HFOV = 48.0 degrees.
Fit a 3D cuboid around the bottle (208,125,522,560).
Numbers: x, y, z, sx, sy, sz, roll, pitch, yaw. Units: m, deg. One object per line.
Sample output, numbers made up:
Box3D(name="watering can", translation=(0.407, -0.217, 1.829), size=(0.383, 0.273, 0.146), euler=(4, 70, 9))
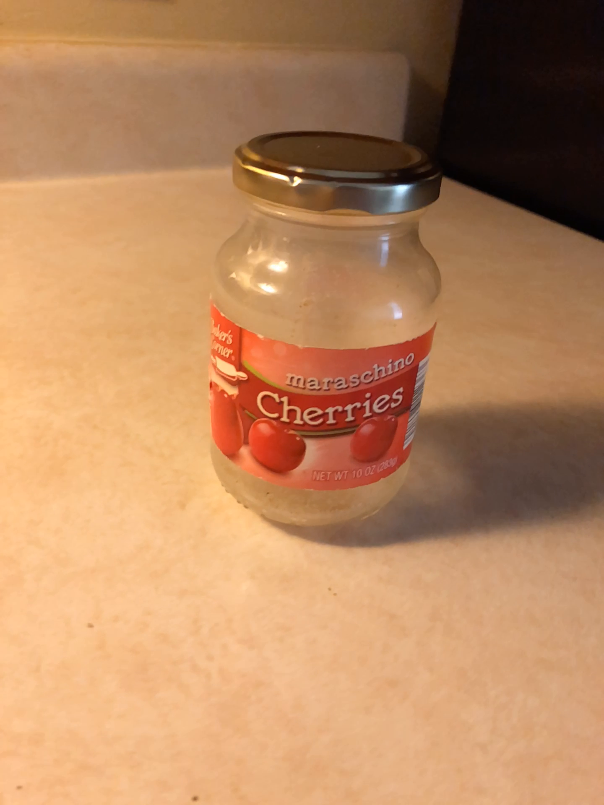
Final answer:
Box3D(name="bottle", translation=(0.008, -0.018, 0.207), size=(0.070, 0.110, 0.070), euler=(3, 31, -2))
